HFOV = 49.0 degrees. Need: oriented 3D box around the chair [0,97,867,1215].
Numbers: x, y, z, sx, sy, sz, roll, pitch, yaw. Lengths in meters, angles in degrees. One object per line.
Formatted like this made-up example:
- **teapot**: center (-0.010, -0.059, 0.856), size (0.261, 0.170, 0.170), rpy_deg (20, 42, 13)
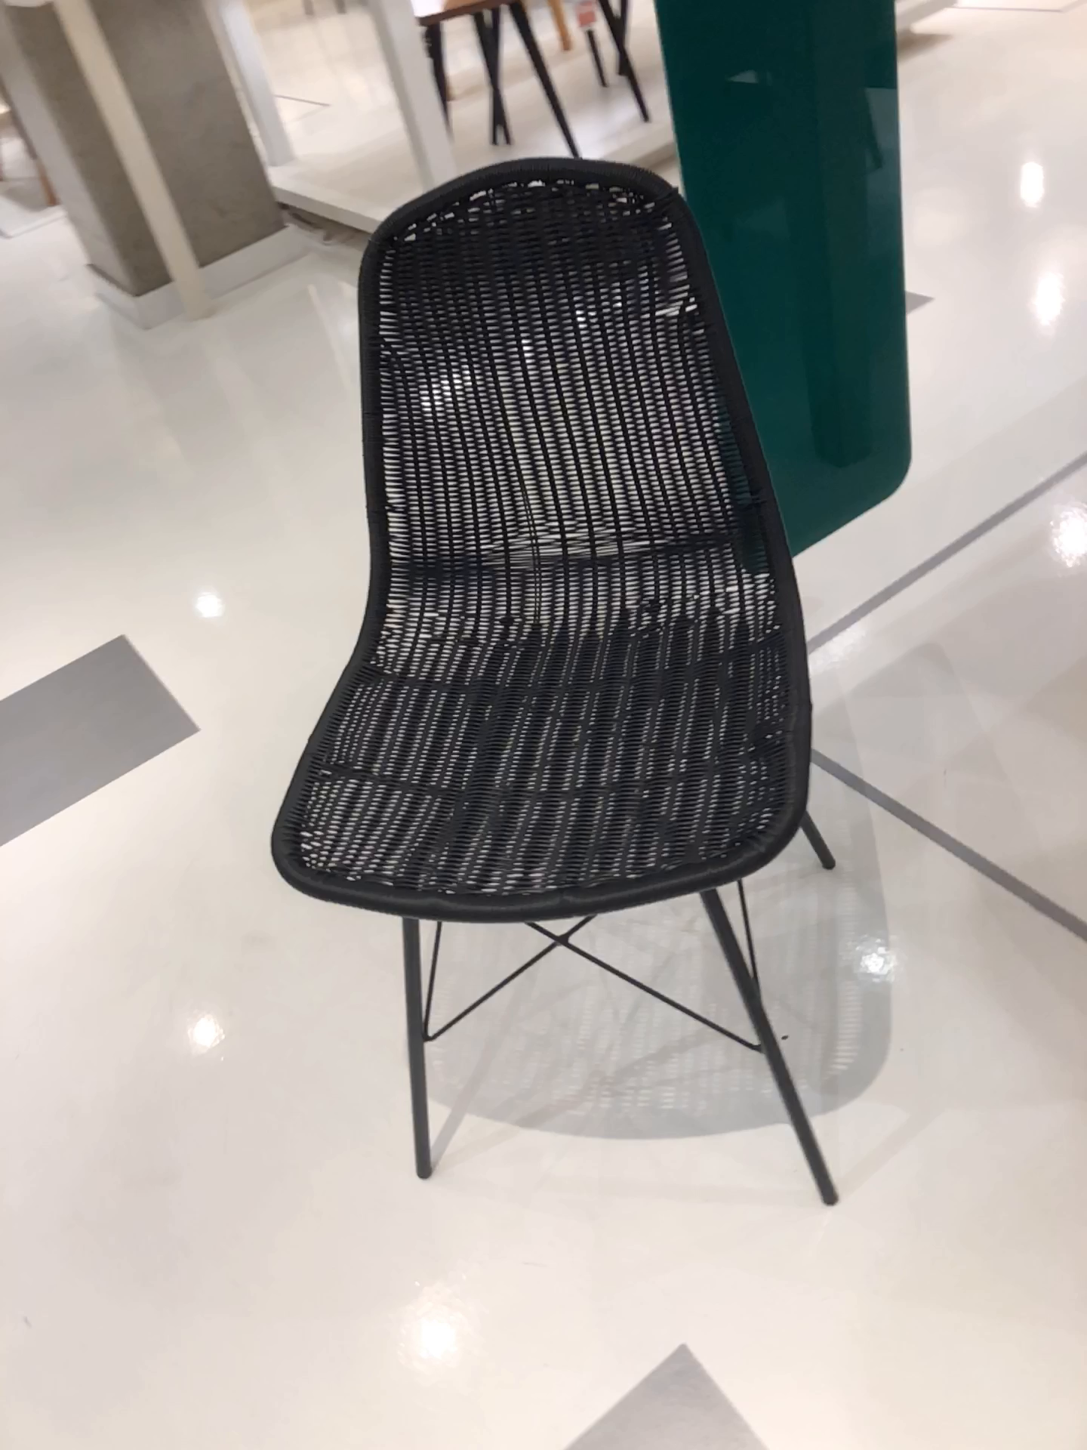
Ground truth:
- **chair**: center (0.017, -0.022, 1.097), size (0.480, 0.793, 0.554), rpy_deg (-4, 41, 16)
